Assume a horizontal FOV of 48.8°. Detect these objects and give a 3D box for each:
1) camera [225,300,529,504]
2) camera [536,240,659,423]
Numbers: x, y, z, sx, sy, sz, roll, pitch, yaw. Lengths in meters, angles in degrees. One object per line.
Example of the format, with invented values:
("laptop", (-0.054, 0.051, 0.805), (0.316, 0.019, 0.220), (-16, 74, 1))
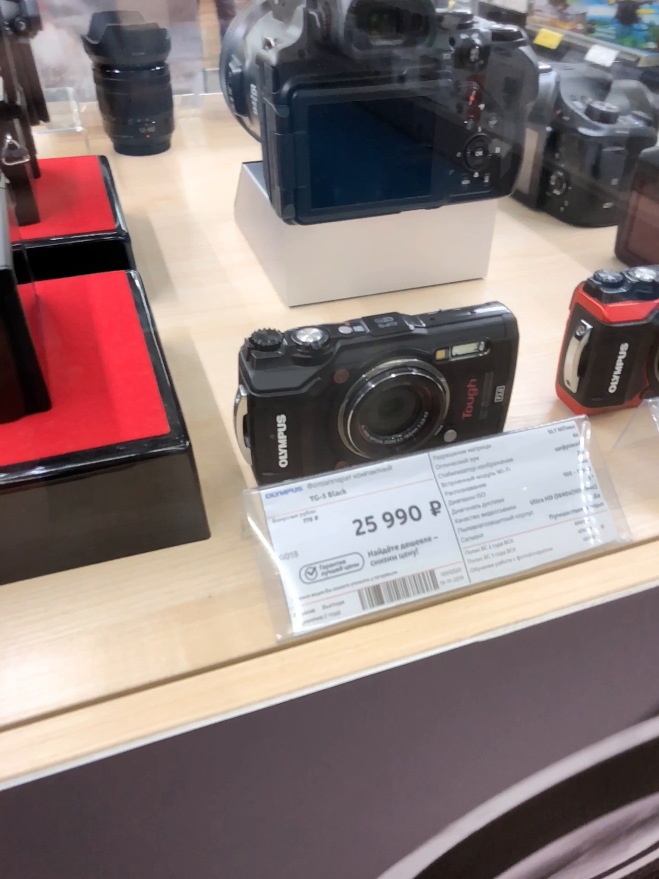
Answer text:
("camera", (0.019, -0.017, 0.304), (0.116, 0.060, 0.030), (-11, 39, -14))
("camera", (0.159, -0.051, 0.334), (0.116, 0.060, 0.030), (-11, 39, -14))
